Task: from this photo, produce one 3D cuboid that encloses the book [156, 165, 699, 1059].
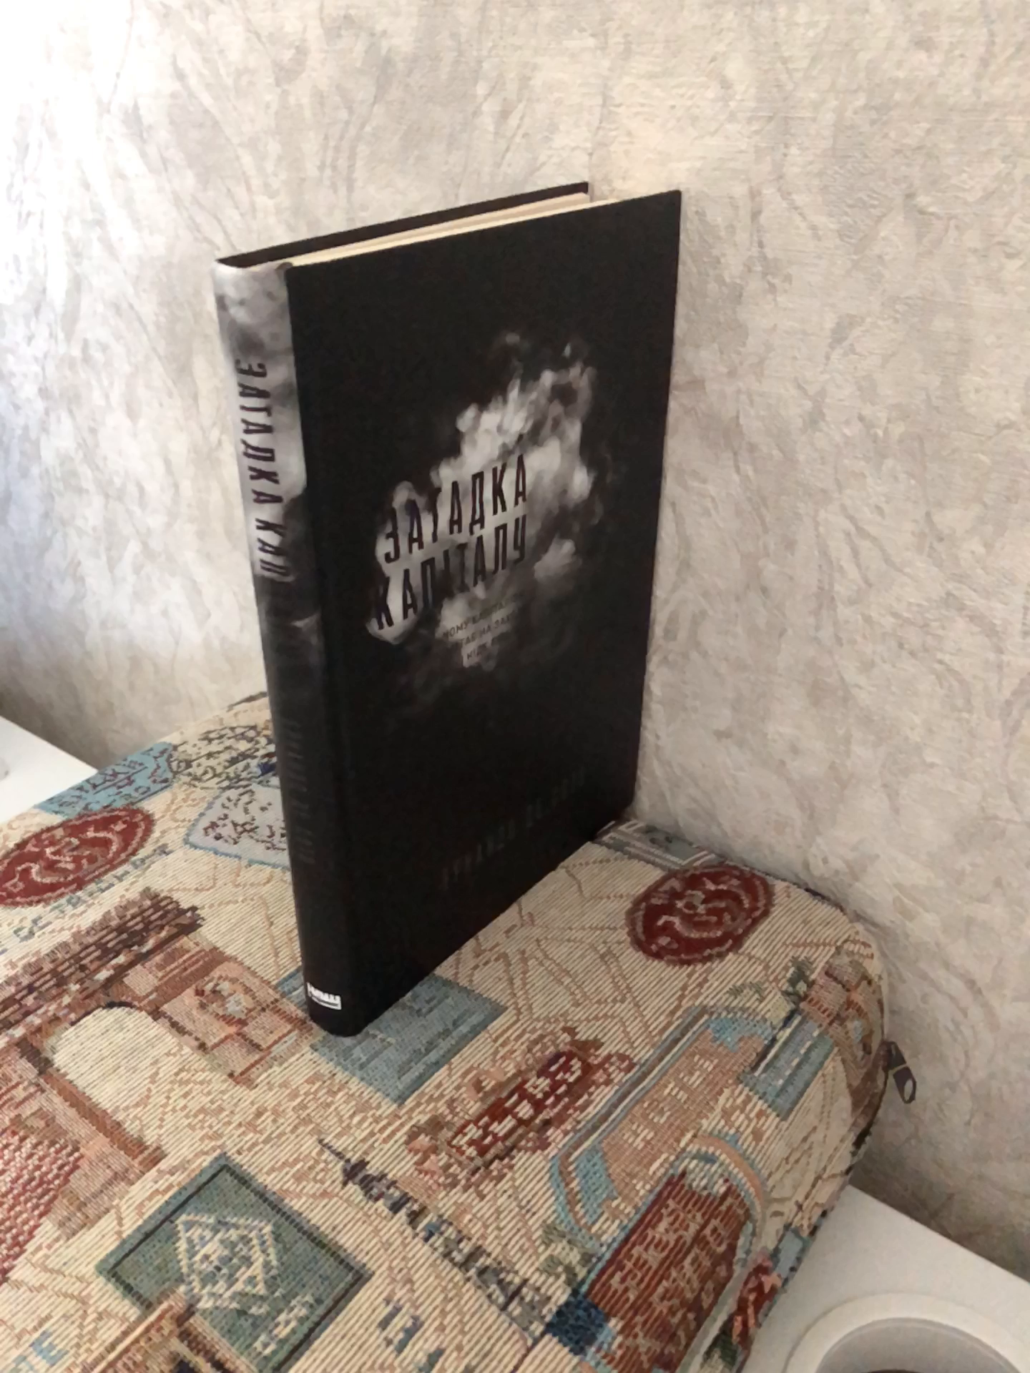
[{"bbox_3d":[-0.007,-0.020,0.305,0.035,0.200,0.138,23,40,35],"label":"book"}]
